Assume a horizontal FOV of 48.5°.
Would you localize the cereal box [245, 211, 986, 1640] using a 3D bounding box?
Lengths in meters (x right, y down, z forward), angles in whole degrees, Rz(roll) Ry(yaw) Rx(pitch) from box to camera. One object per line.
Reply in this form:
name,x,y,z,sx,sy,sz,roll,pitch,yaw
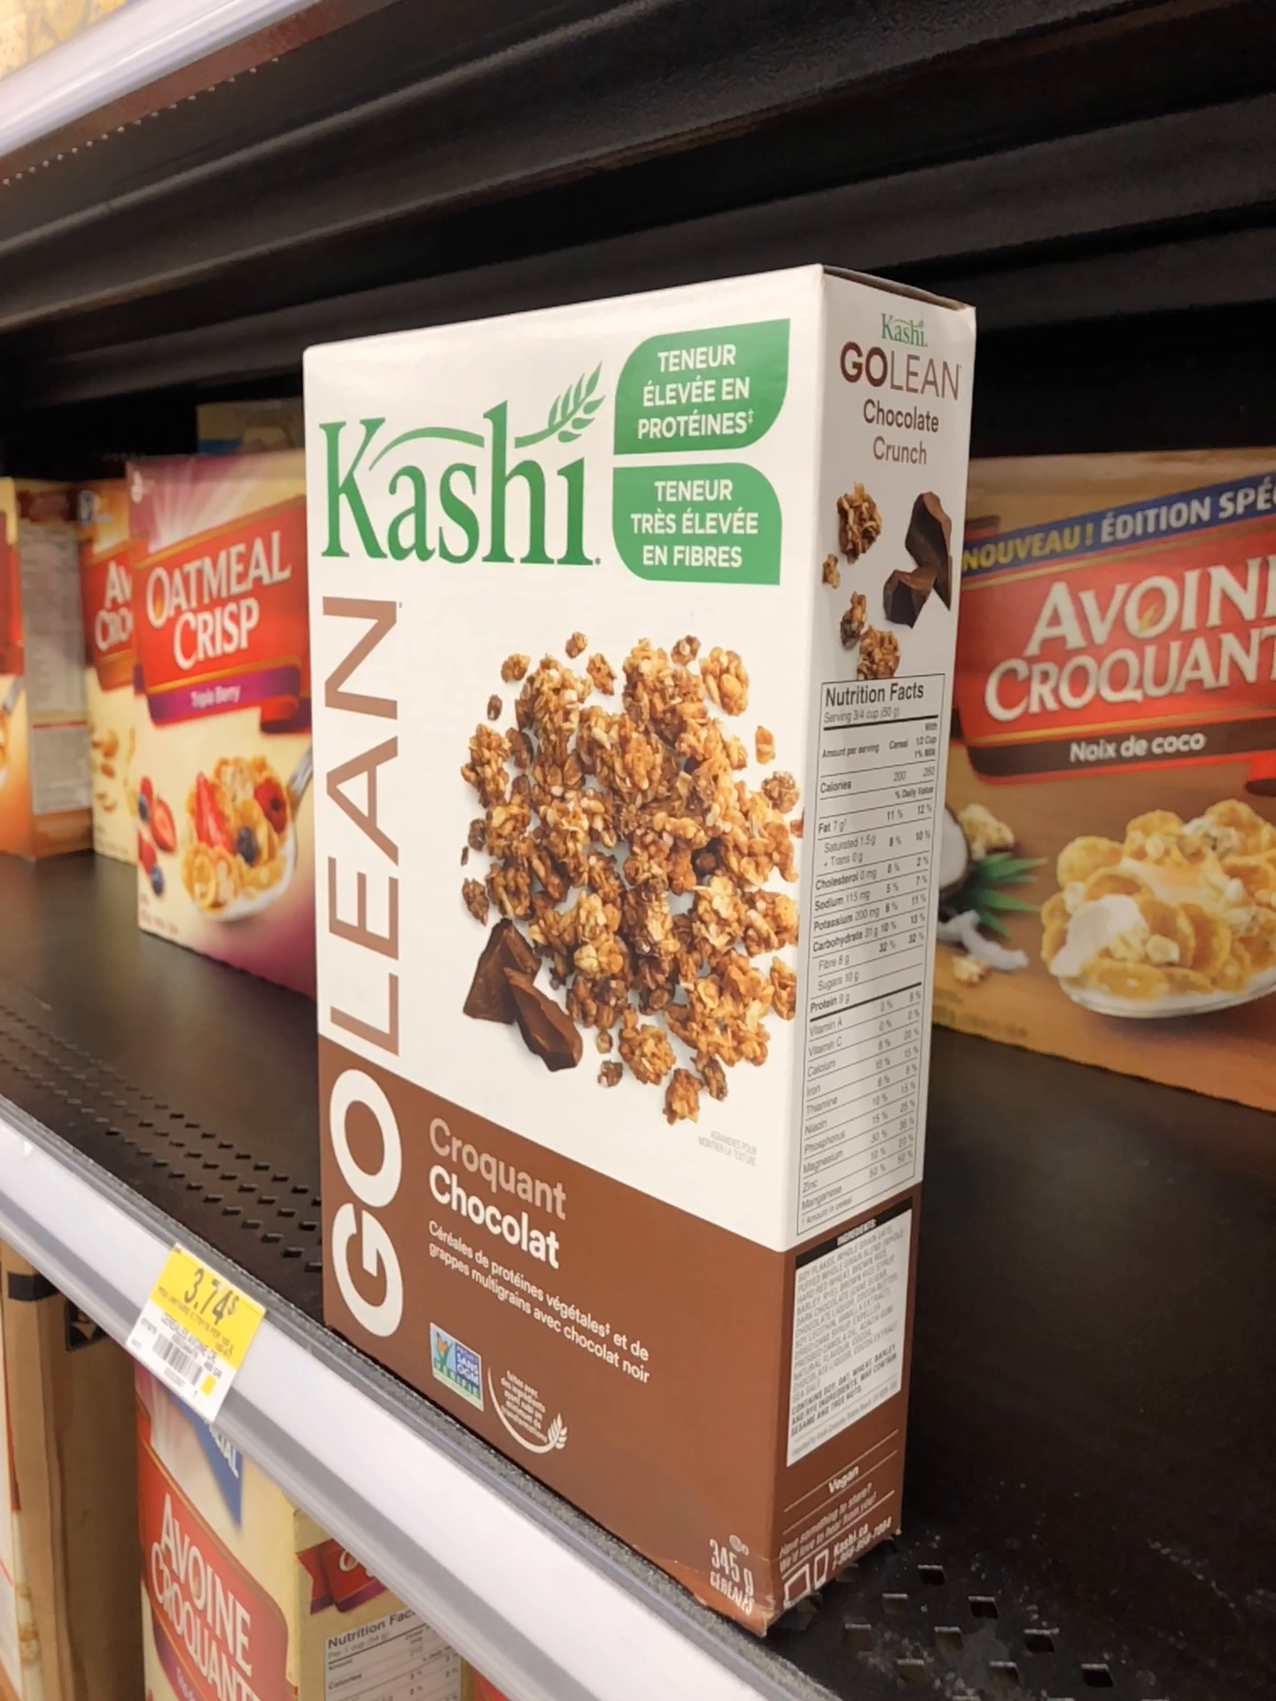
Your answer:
cereal box,-0.016,0.008,0.316,0.050,0.249,0.170,-10,16,-43
